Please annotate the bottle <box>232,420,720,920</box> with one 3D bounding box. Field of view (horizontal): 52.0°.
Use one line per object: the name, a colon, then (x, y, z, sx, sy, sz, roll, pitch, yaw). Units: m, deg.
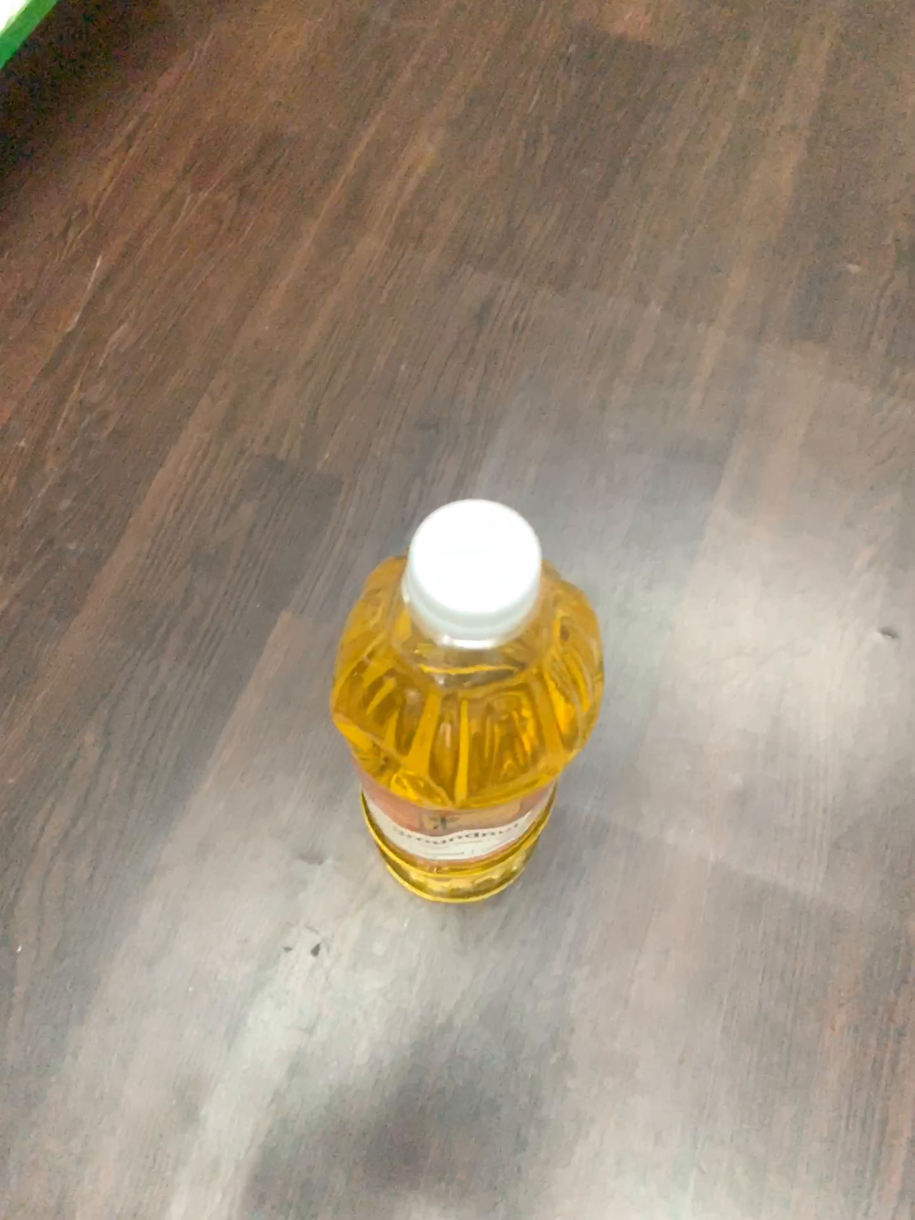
bottle: (0.001, 0.047, 0.305, 0.090, 0.260, 0.070, -2, 65, -2)
